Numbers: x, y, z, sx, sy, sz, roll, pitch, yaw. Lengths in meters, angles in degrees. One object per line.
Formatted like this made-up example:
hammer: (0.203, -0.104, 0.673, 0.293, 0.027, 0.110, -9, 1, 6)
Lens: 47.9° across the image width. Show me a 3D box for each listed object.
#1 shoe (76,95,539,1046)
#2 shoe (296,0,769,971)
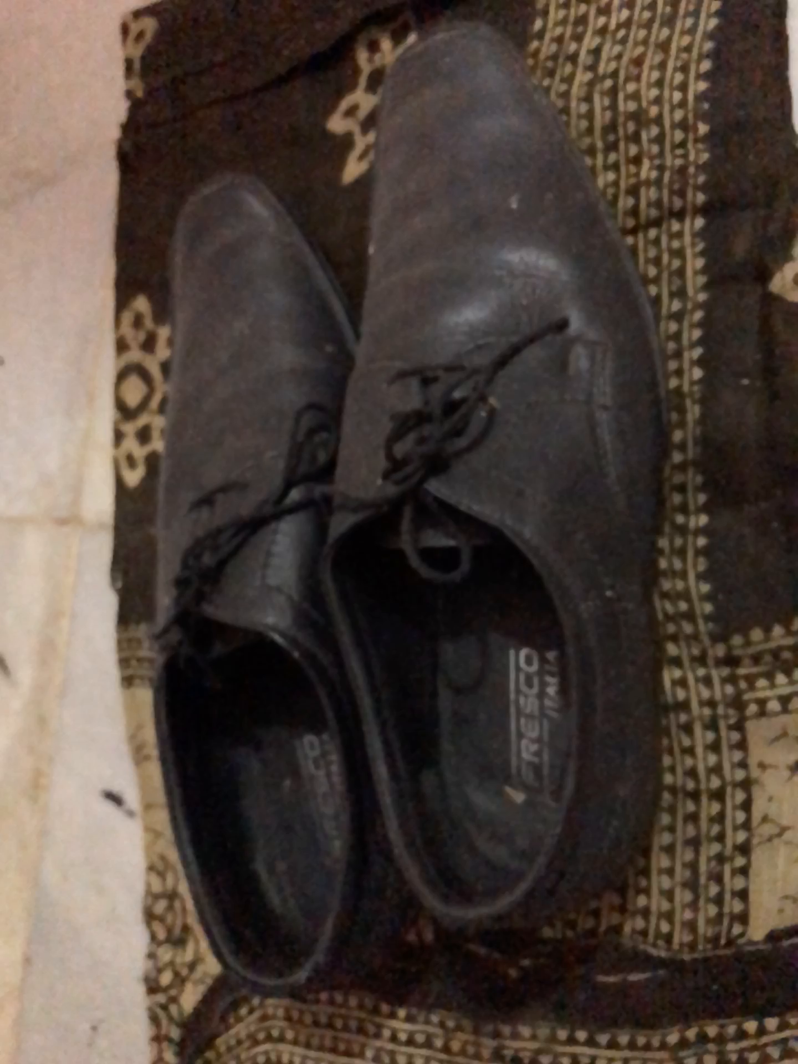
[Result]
shoe: (-0.043, 0.014, 0.368, 0.110, 0.070, 0.340, -16, 80, 26)
shoe: (0.044, -0.037, 0.323, 0.110, 0.070, 0.340, -10, 82, 26)
